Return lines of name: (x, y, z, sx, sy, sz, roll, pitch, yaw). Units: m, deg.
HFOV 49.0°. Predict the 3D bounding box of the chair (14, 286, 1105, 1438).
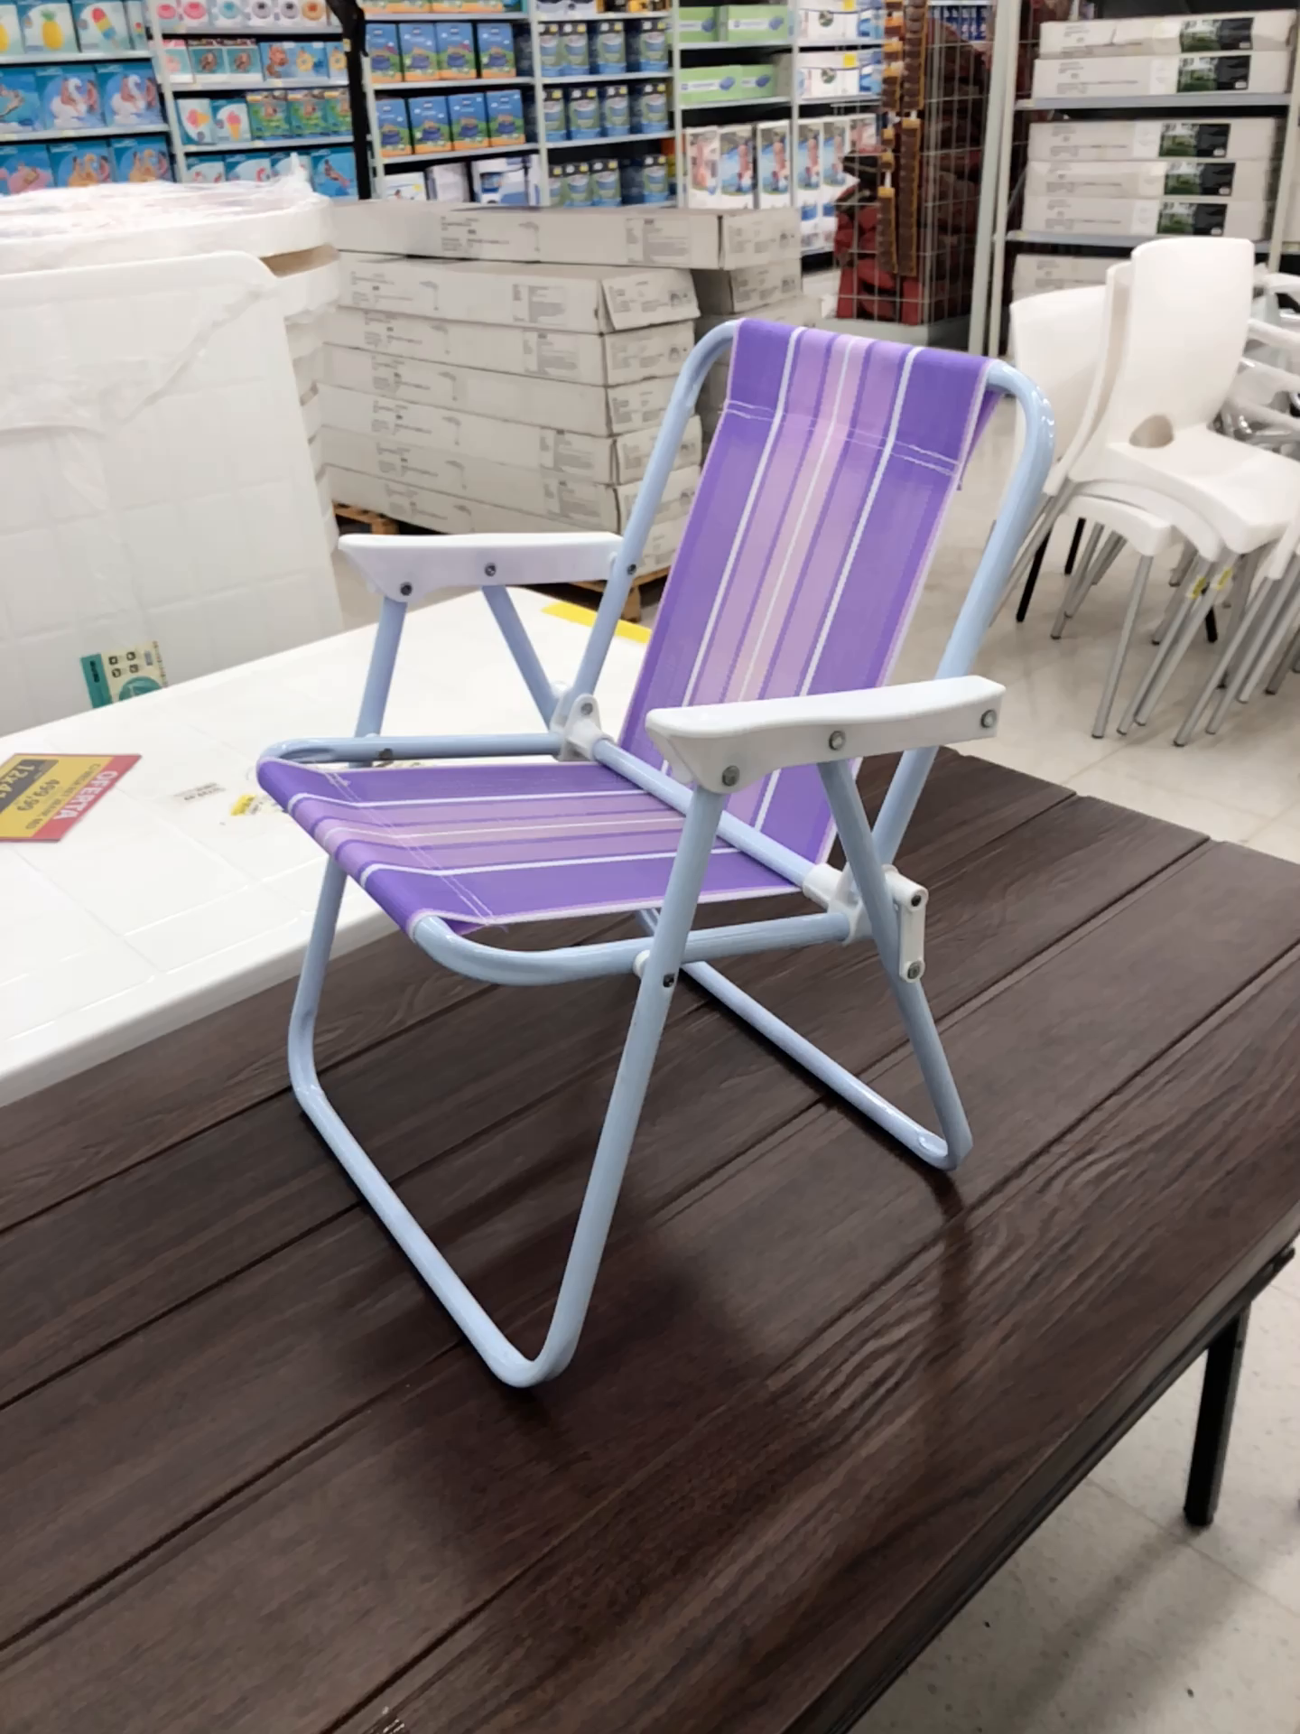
chair: (-0.061, -0.063, 0.815, 0.391, 0.437, 0.422, -19, 31, -27)
